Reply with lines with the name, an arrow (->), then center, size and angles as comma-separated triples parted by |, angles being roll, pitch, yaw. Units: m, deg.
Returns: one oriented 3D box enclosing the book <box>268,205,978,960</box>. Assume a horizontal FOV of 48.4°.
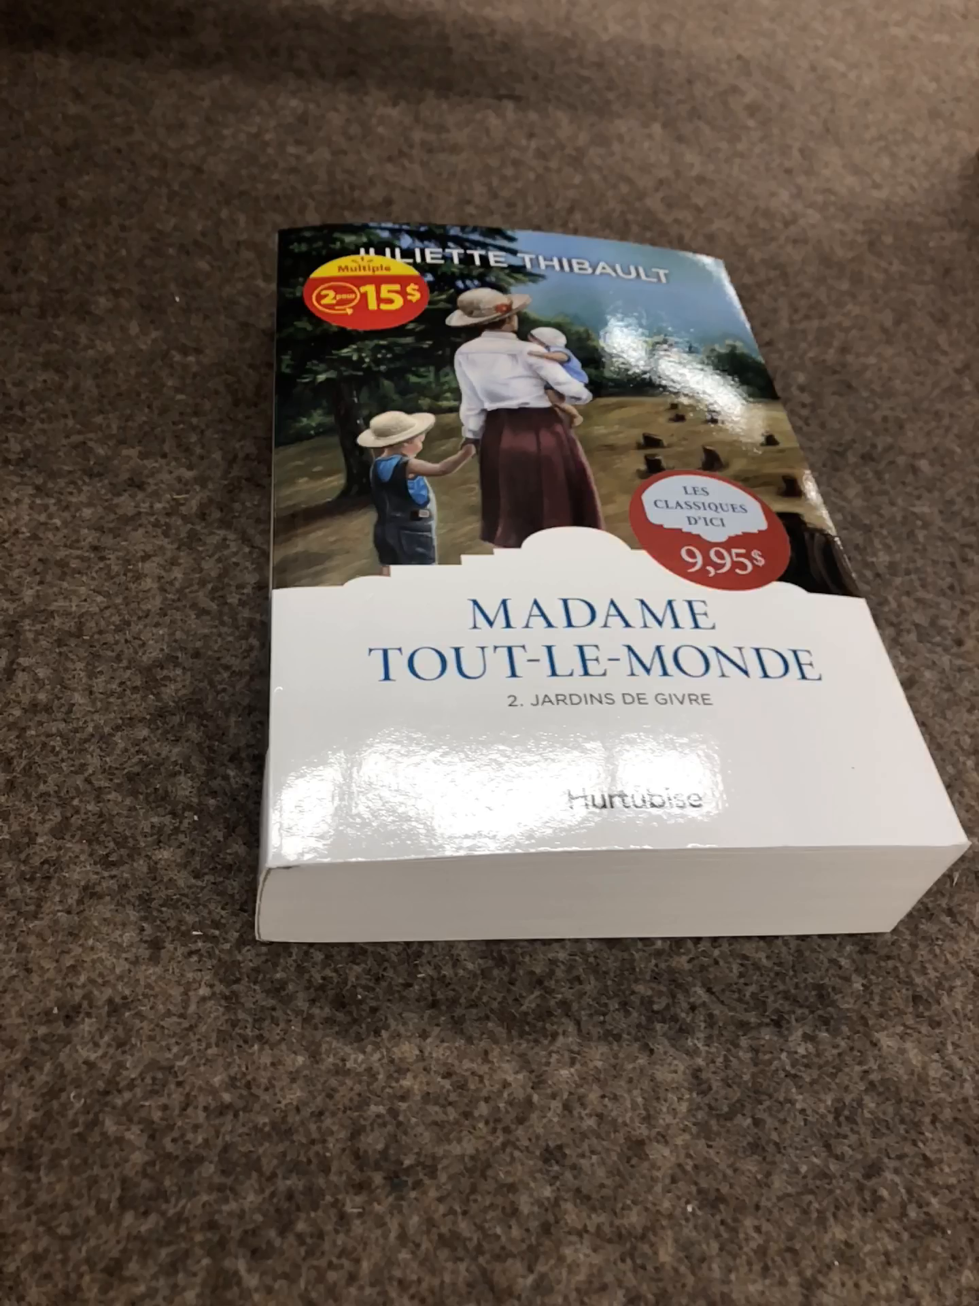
book -> 0.023, -0.034, 0.305 | 0.160, 0.050, 0.222 | 0, 53, -10
